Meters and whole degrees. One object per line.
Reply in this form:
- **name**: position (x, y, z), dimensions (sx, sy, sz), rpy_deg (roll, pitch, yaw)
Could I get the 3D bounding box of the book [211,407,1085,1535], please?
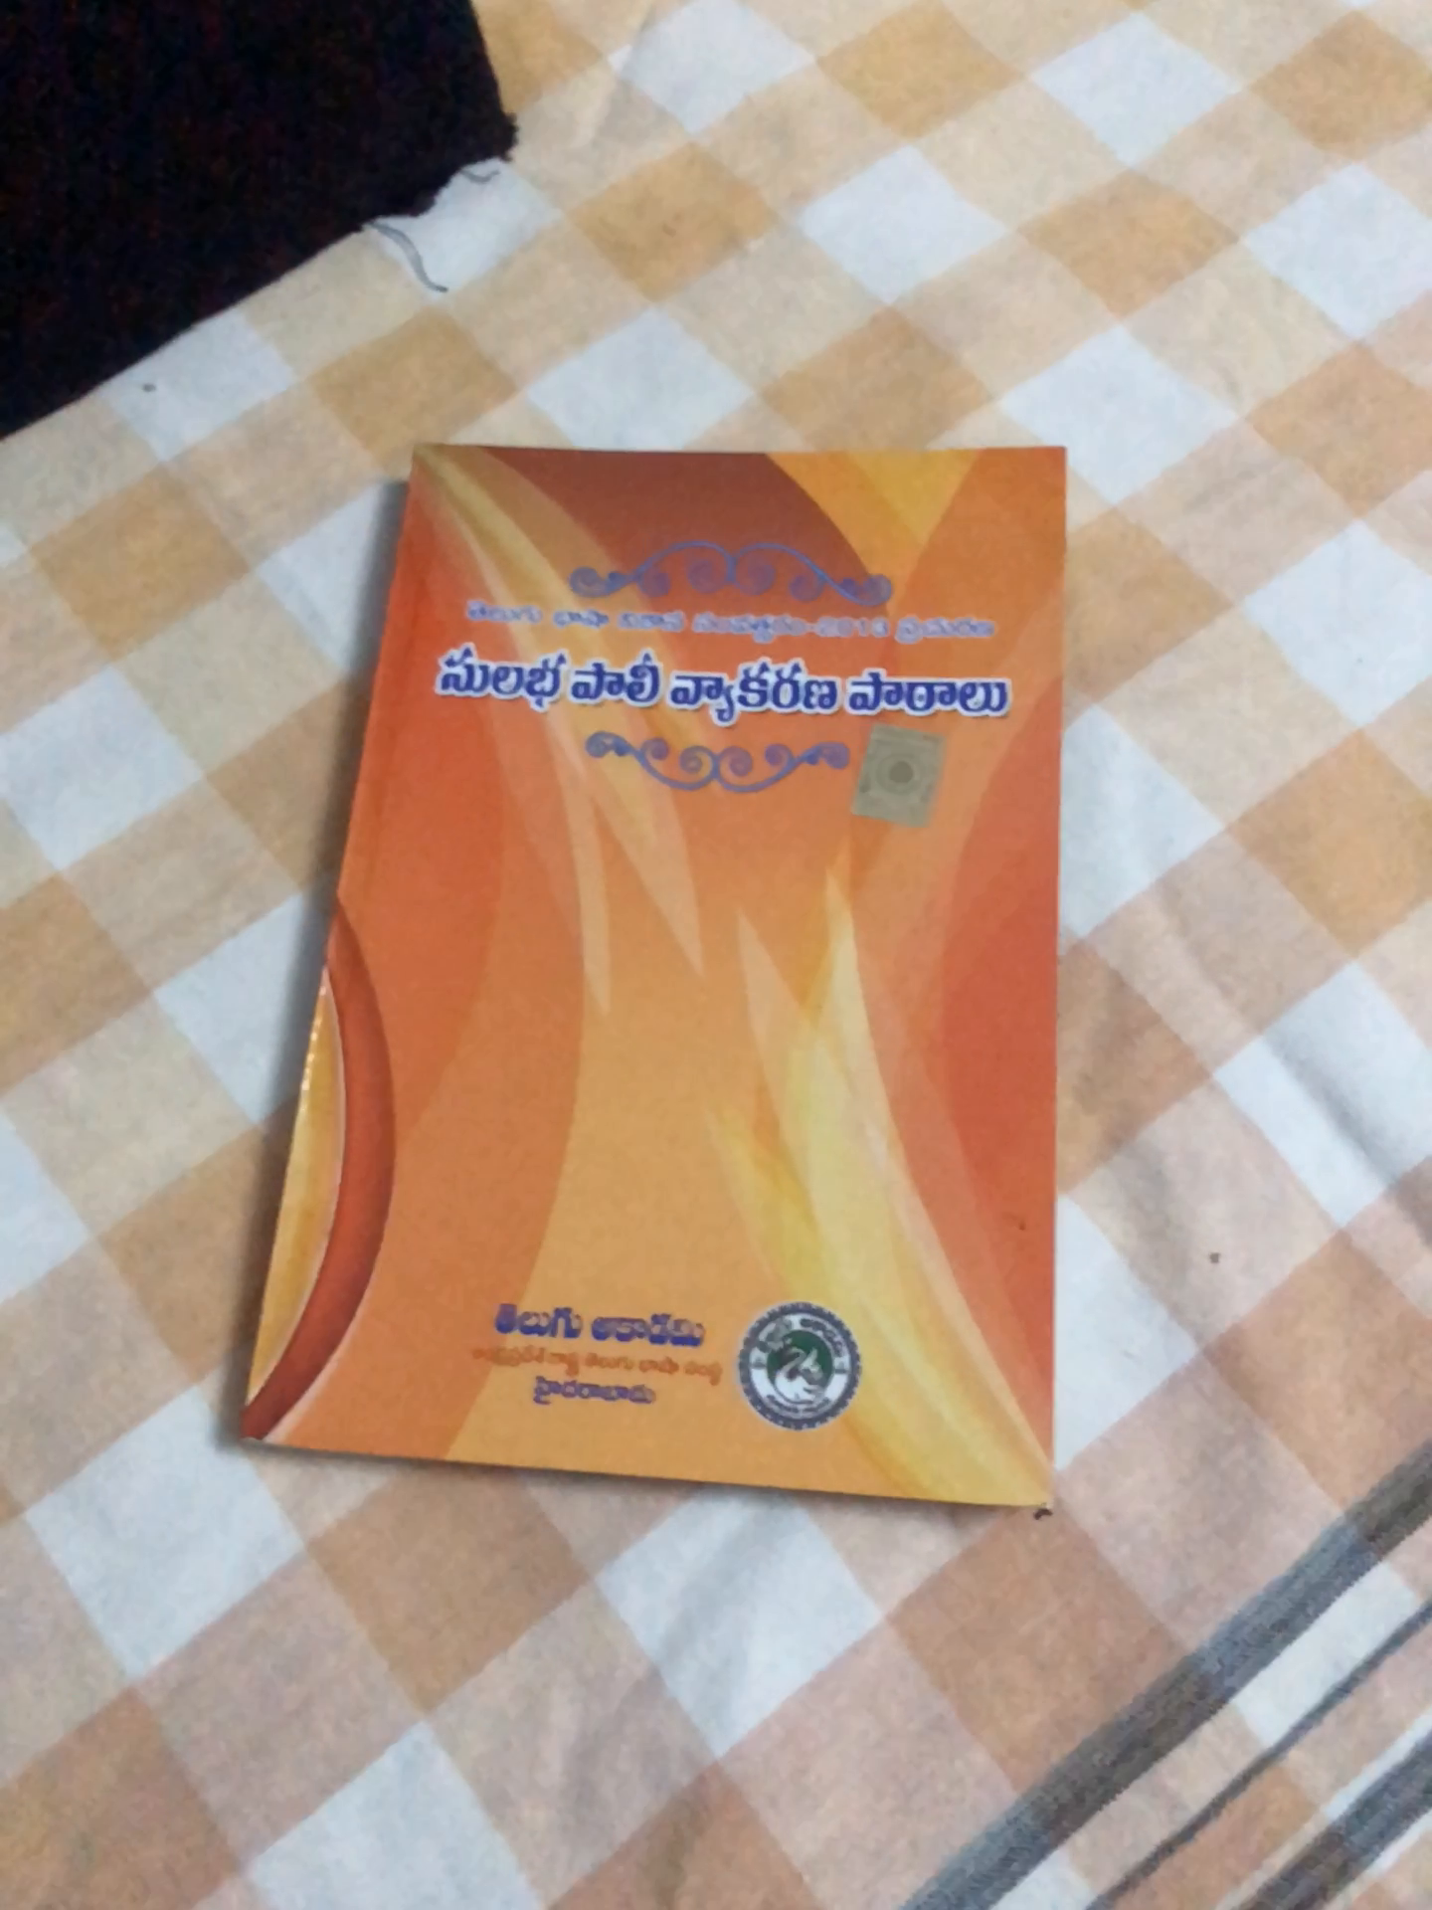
- **book**: position (-0.003, -0.008, 0.300), dimensions (0.140, 0.020, 0.210), rpy_deg (4, 70, 4)
